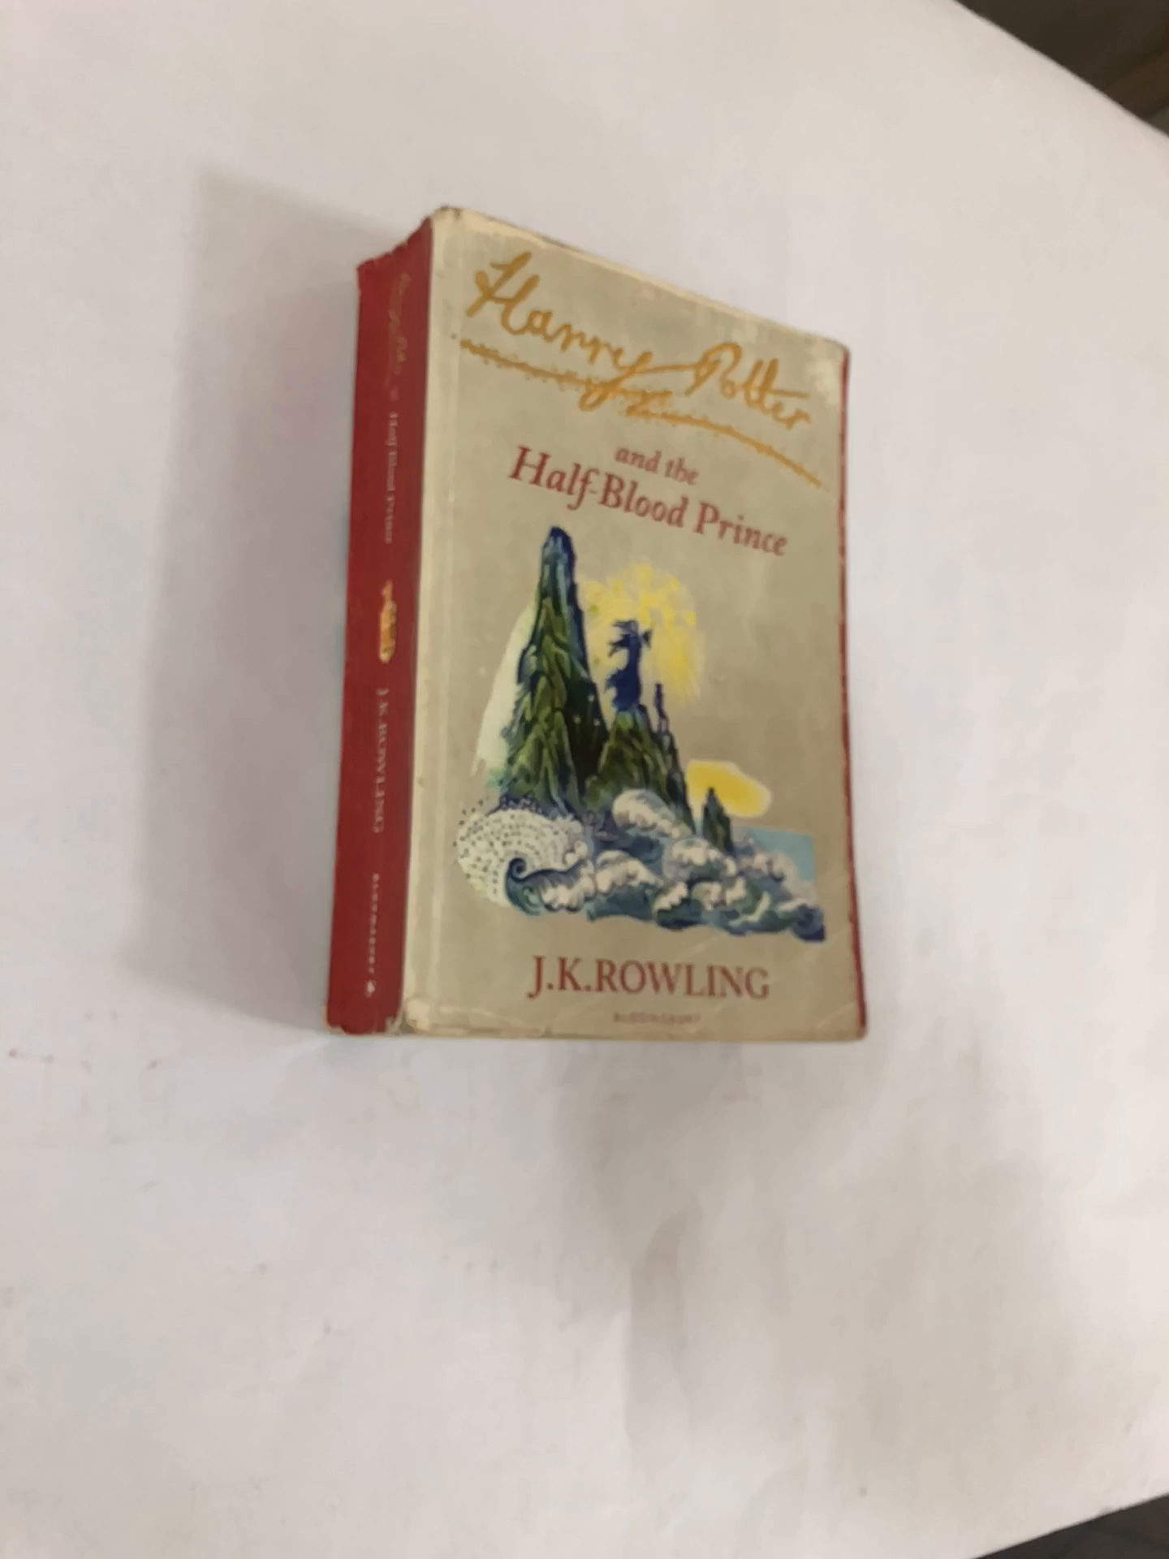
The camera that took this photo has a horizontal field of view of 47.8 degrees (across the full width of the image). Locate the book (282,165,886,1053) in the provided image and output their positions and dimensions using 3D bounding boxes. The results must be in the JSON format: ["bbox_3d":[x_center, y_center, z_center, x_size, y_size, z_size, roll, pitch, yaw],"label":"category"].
[{"bbox_3d":[0.003,-0.028,0.313,0.130,0.050,0.181,7,77,-33],"label":"book"}]
